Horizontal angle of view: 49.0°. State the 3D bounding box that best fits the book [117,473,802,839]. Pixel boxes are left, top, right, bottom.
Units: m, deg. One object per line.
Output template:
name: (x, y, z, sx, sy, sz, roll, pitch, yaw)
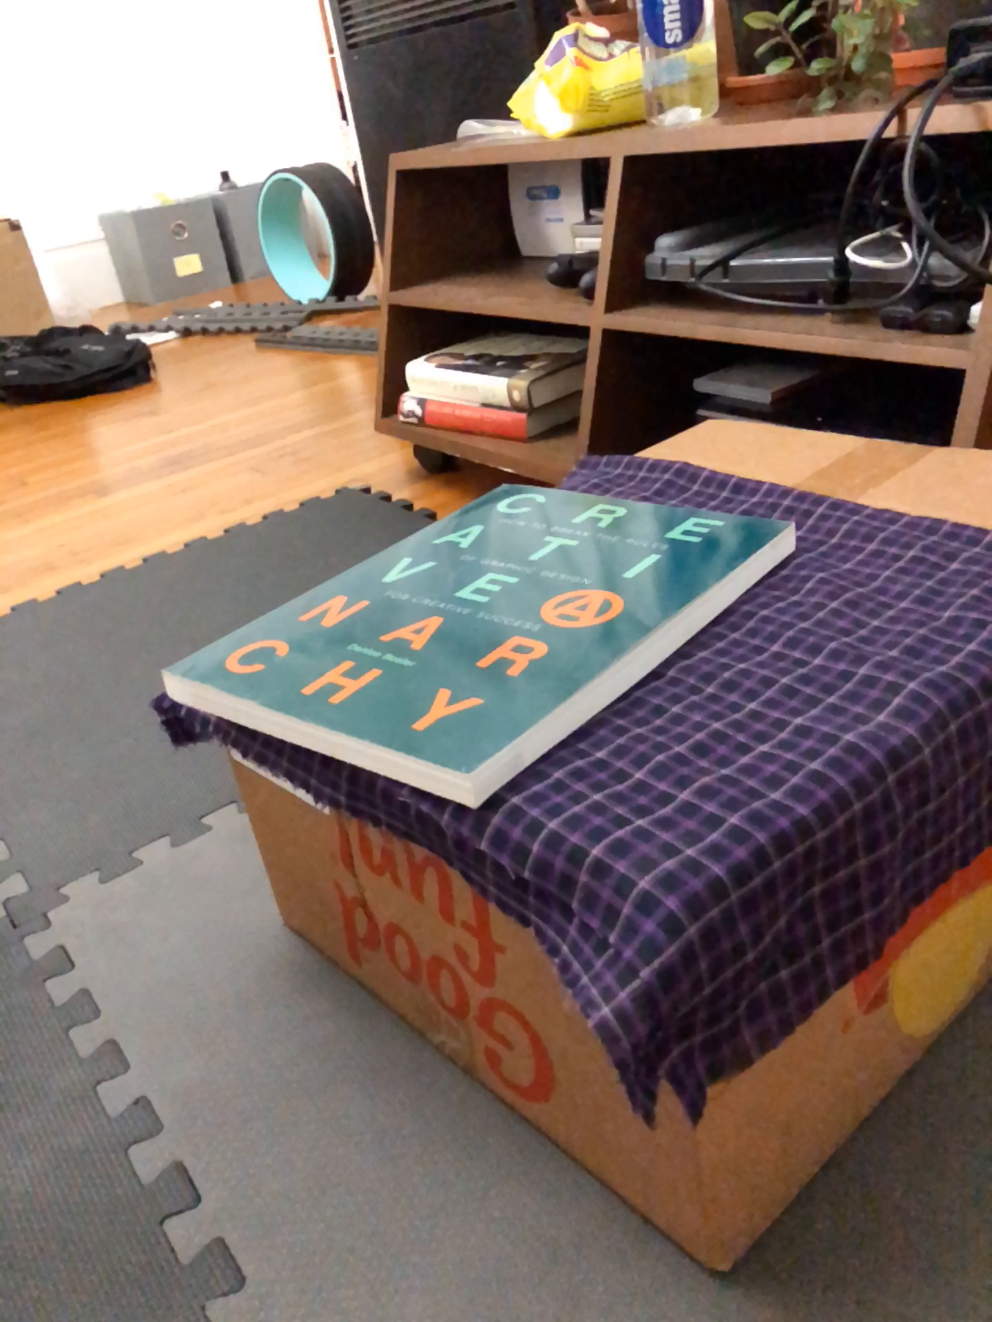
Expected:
book: (-0.009, -0.030, 0.574, 0.220, 0.020, 0.301, 14, 36, 38)
